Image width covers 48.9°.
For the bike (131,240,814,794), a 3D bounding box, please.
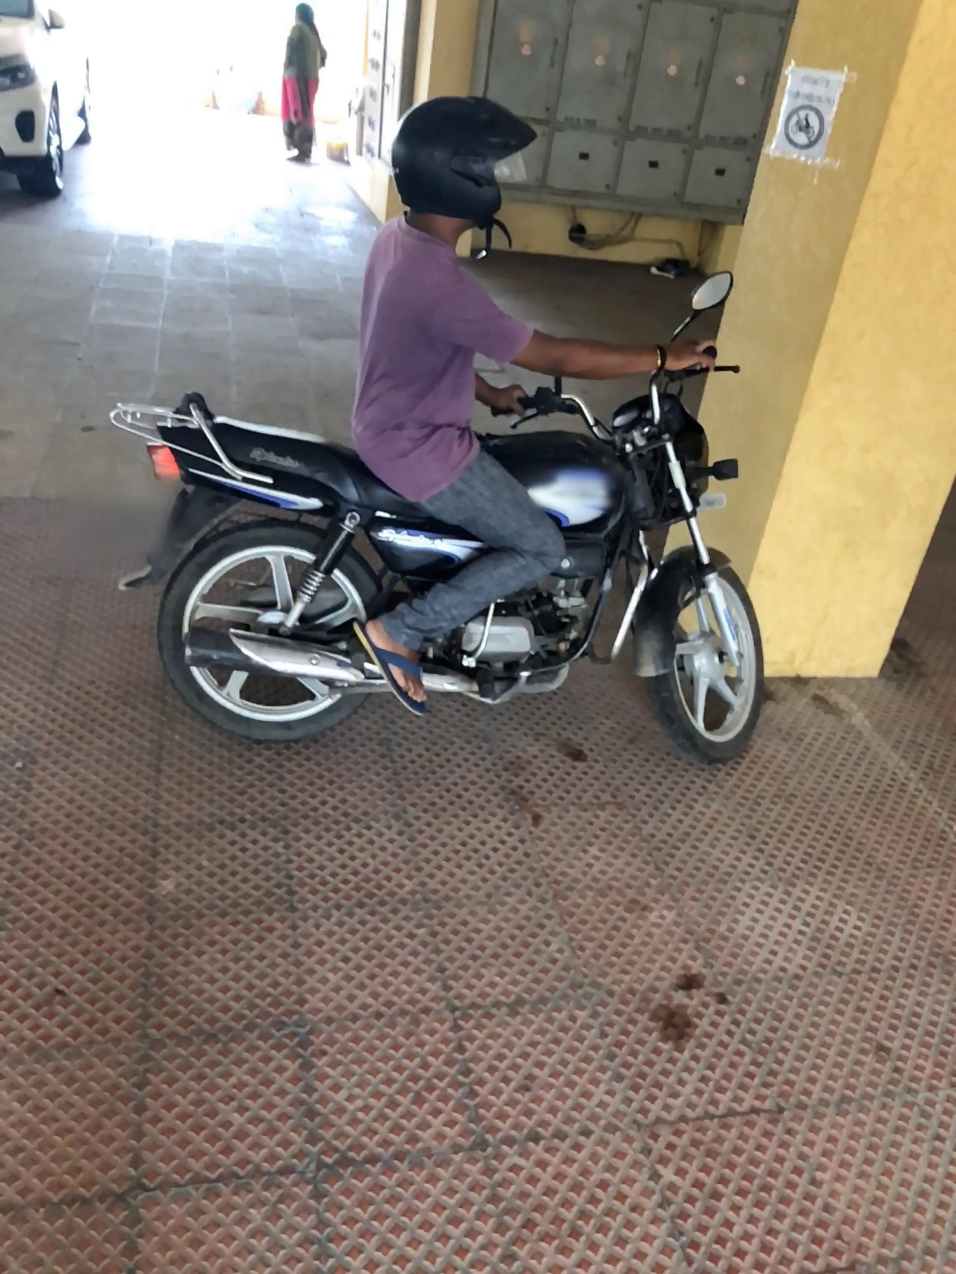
[{"bbox_3d":[-0.081,-0.285,2.905,1.543,1.194,0.770,2,31,-15],"label":"bike"}]
